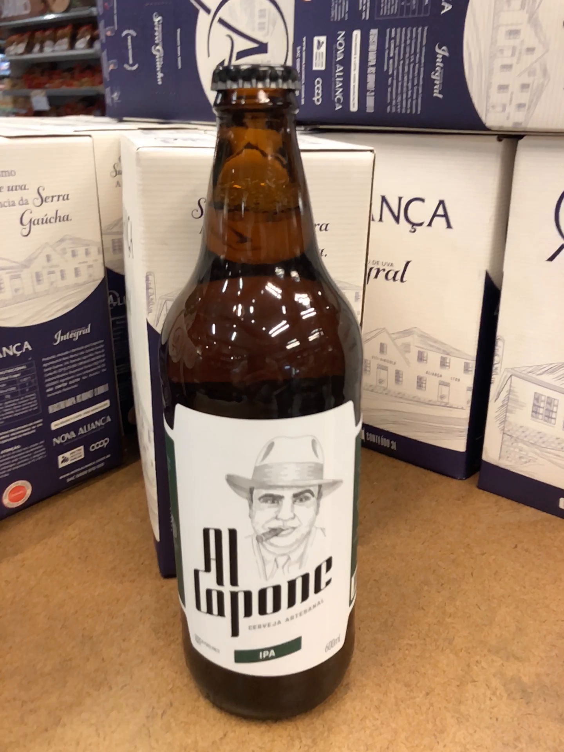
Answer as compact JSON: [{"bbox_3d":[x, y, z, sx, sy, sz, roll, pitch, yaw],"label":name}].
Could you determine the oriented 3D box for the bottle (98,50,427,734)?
[{"bbox_3d":[-0.006,0.014,0.227,0.080,0.229,0.070,-1,22,-2],"label":"bottle"}]
